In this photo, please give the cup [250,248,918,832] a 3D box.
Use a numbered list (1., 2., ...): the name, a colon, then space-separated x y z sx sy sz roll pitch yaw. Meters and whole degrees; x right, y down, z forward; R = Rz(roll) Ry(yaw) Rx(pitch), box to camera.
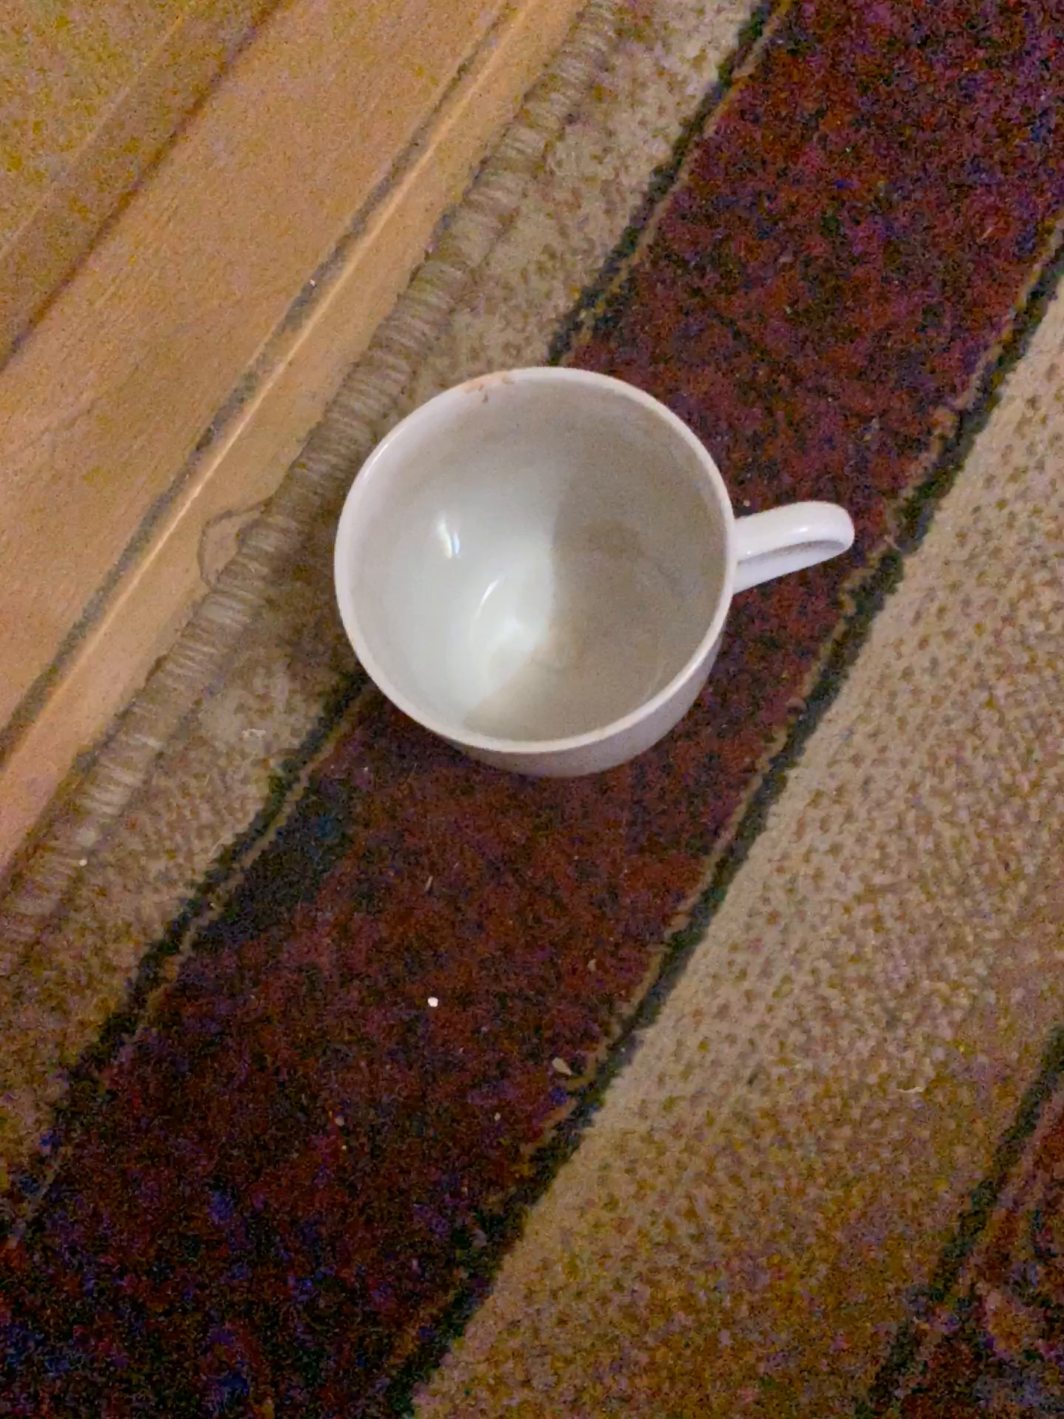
1. cup: 0.012 -0.031 0.254 0.114 0.075 0.081 -18 77 5
